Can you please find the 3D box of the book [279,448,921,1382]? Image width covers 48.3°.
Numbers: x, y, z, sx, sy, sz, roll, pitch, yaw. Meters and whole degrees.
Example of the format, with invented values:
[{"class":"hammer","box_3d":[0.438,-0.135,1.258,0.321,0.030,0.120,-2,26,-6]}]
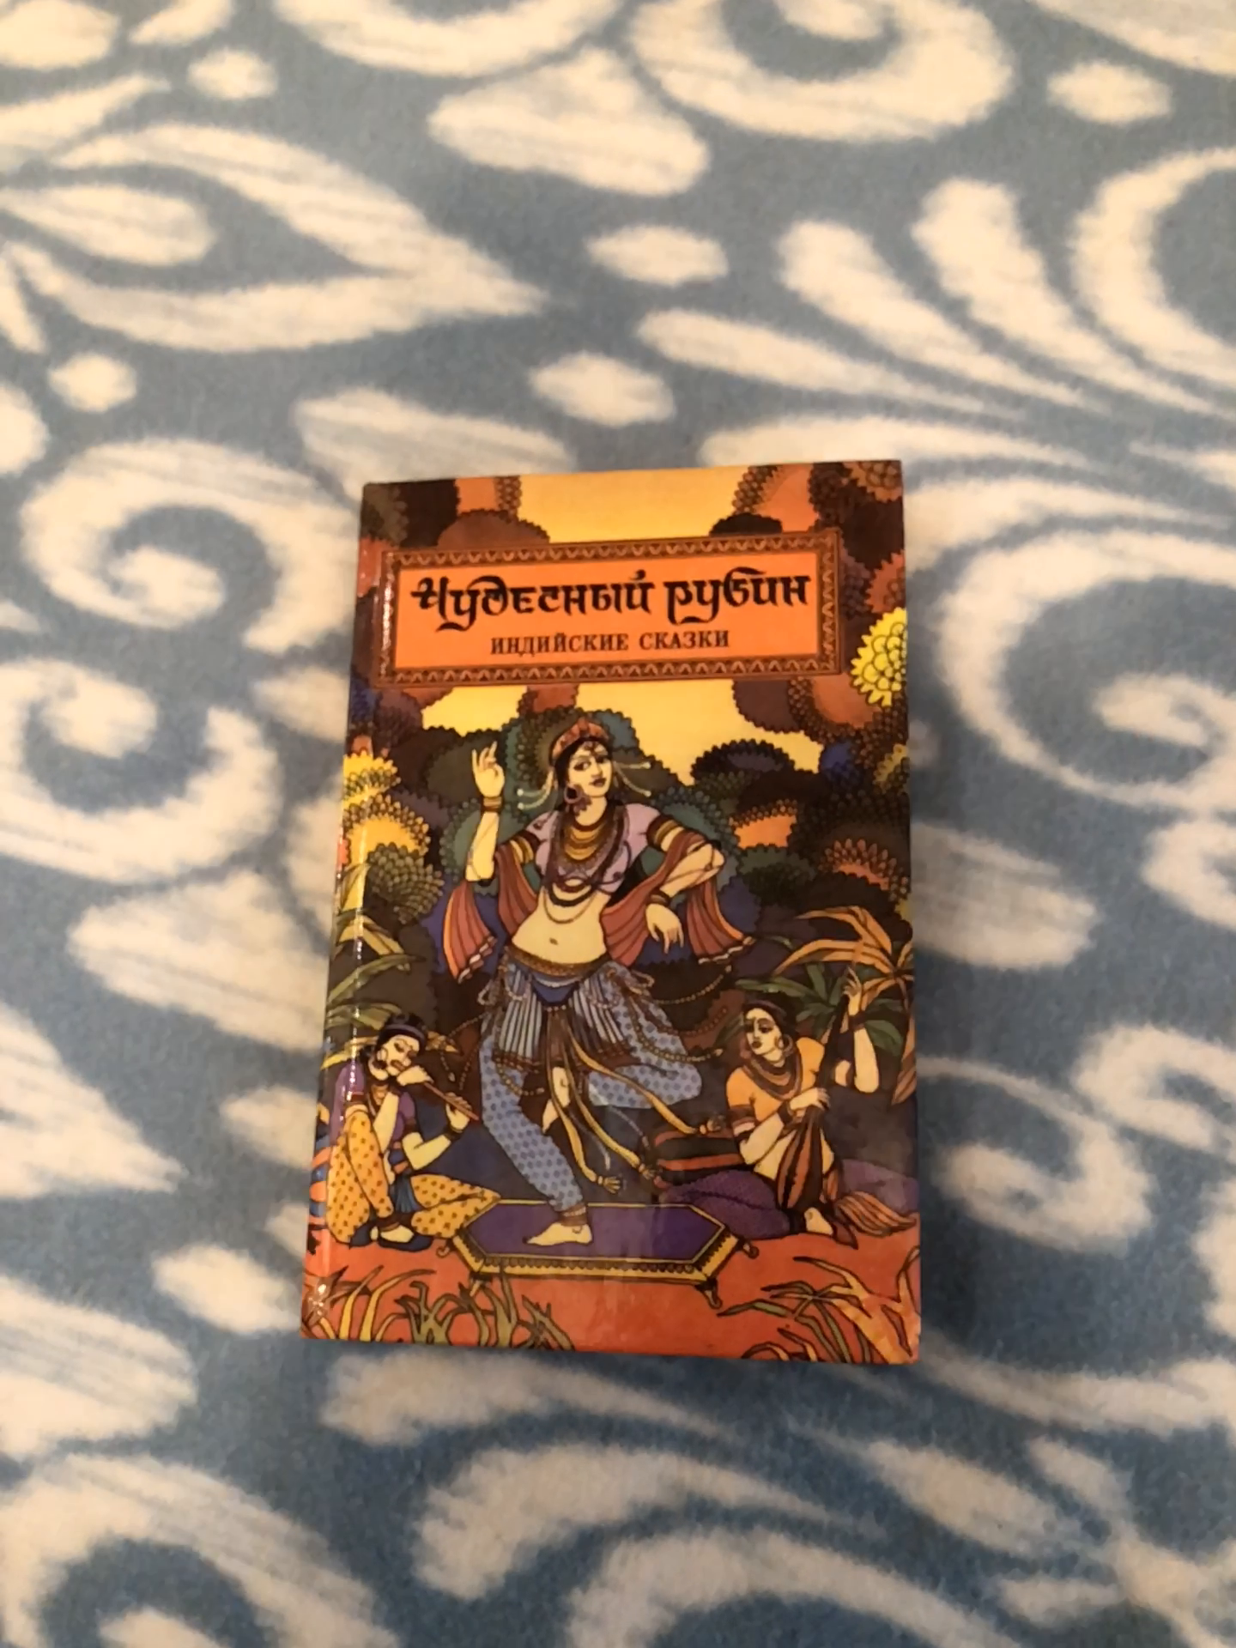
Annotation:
[{"class":"book","box_3d":[-0.002,0.016,0.331,0.139,0.027,0.210,0,77,9]}]
